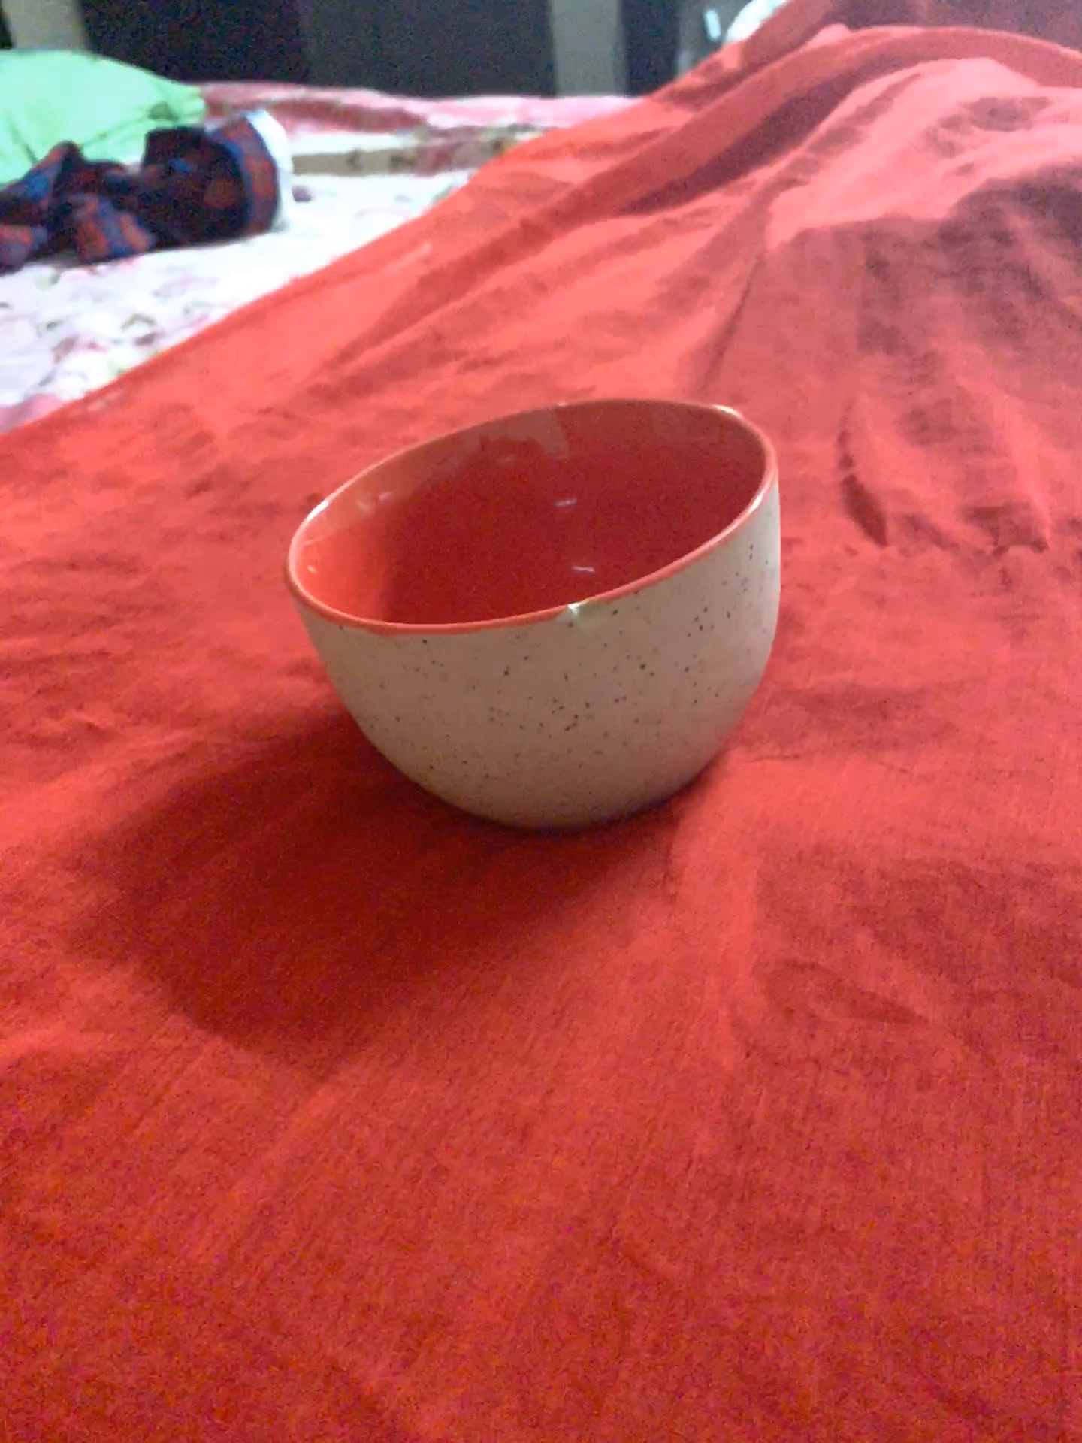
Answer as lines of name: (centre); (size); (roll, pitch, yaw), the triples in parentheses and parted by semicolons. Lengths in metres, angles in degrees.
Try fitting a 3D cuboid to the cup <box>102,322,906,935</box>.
cup: (-0.002, -0.040, 0.282); (0.130, 0.069, 0.141); (-7, 34, 5)
